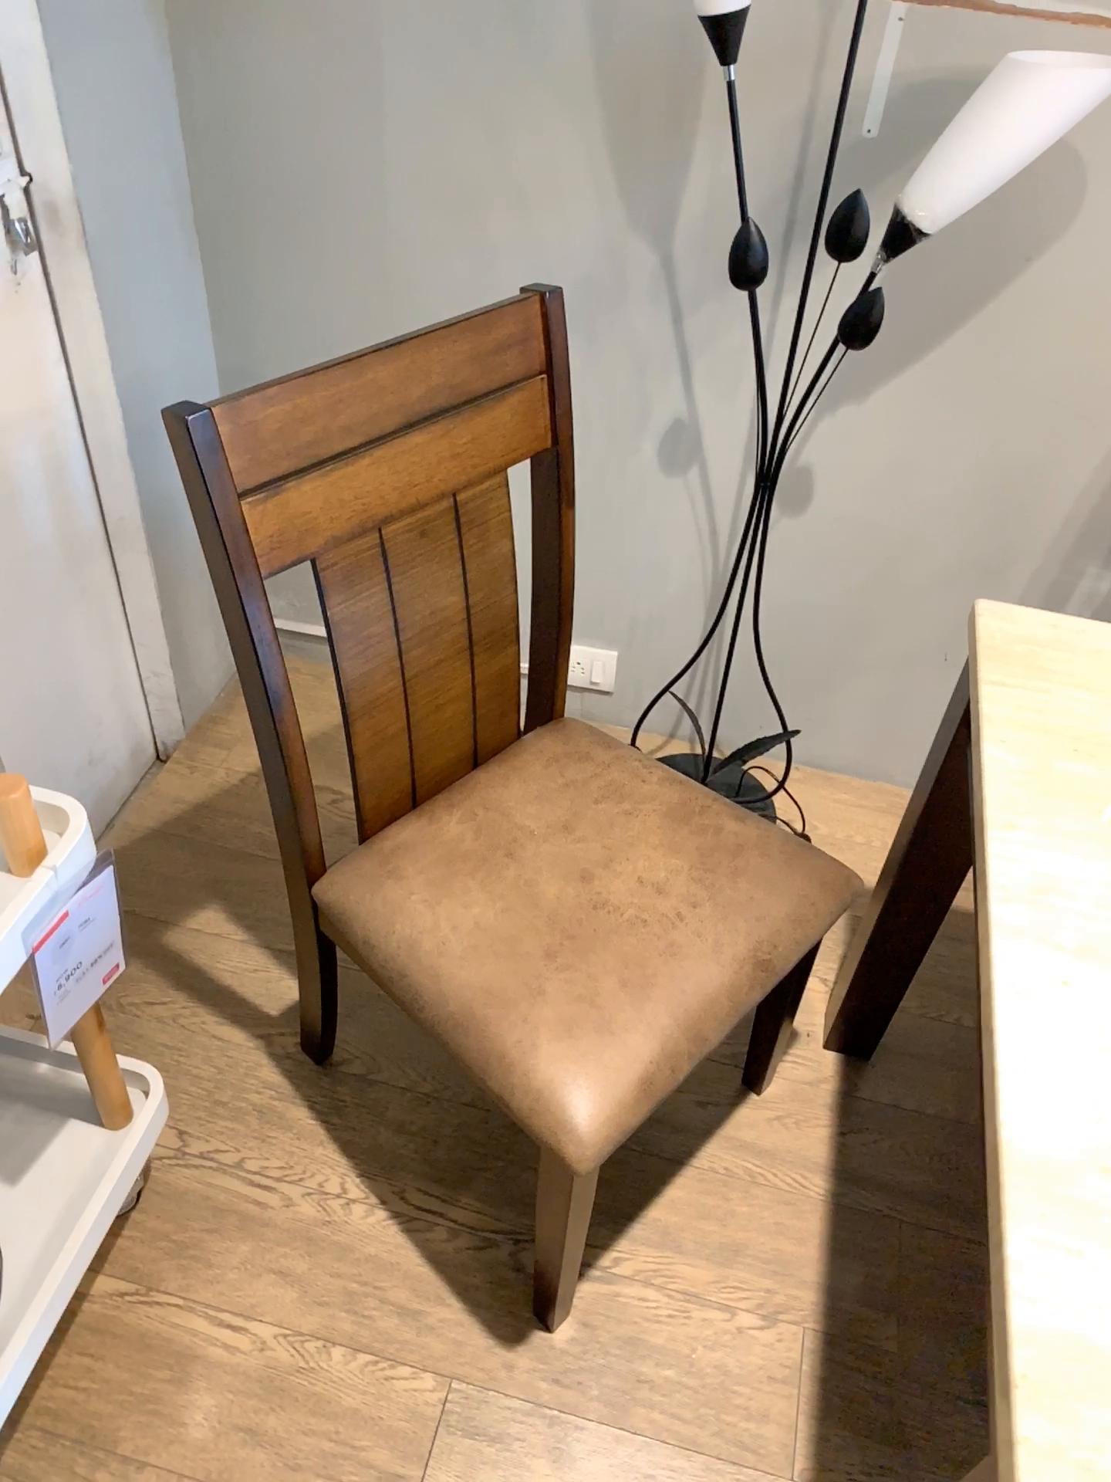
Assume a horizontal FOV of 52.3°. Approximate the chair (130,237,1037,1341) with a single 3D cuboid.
[{"bbox_3d":[-0.002,0.084,1.267,0.551,0.996,0.511,33,49,27],"label":"chair"}]
